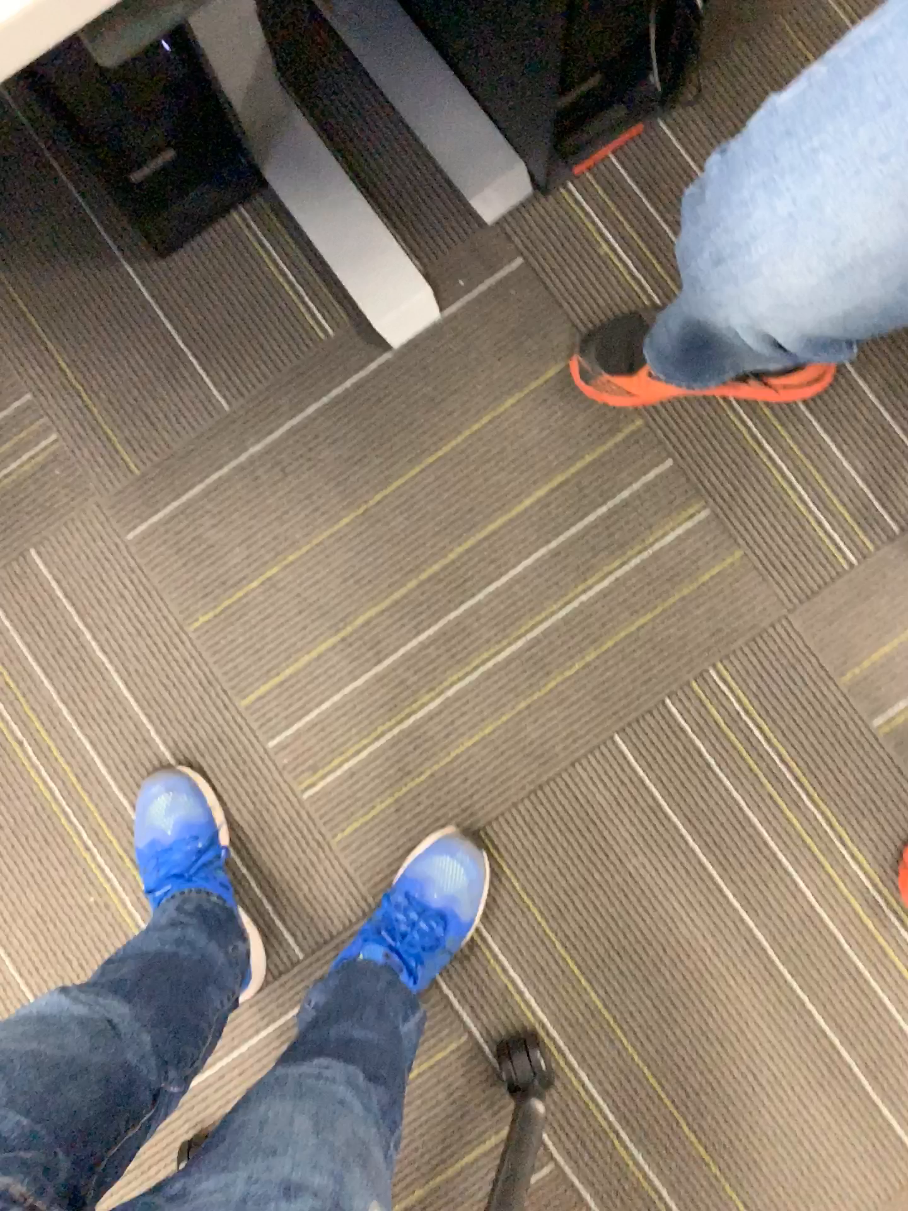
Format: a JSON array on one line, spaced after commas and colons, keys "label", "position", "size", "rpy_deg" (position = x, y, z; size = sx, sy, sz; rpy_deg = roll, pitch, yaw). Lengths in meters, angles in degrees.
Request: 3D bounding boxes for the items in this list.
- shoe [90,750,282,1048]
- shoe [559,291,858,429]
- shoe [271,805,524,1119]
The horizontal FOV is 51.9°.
[{"label": "shoe", "position": [-0.315, 0.347, 1.117], "size": [0.141, 0.088, 0.310], "rpy_deg": [-11, 94, 2]}, {"label": "shoe", "position": [0.275, -0.273, 1.039], "size": [0.305, 0.088, 0.117], "rpy_deg": [-4, 107, 6]}, {"label": "shoe", "position": [-0.065, 0.418, 1.105], "size": [0.119, 0.088, 0.339], "rpy_deg": [35, 97, 5]}]
